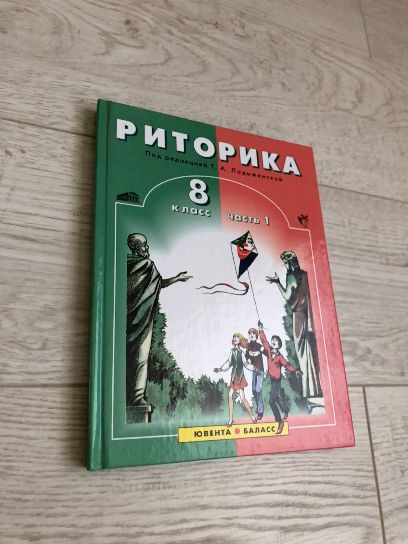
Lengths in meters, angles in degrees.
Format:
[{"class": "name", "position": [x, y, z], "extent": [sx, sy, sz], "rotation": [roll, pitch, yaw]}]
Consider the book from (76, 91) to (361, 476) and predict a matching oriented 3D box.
[{"class": "book", "position": [0.010, 0.001, 0.293], "extent": [0.171, 0.020, 0.223], "rotation": [5, 70, -23]}]
